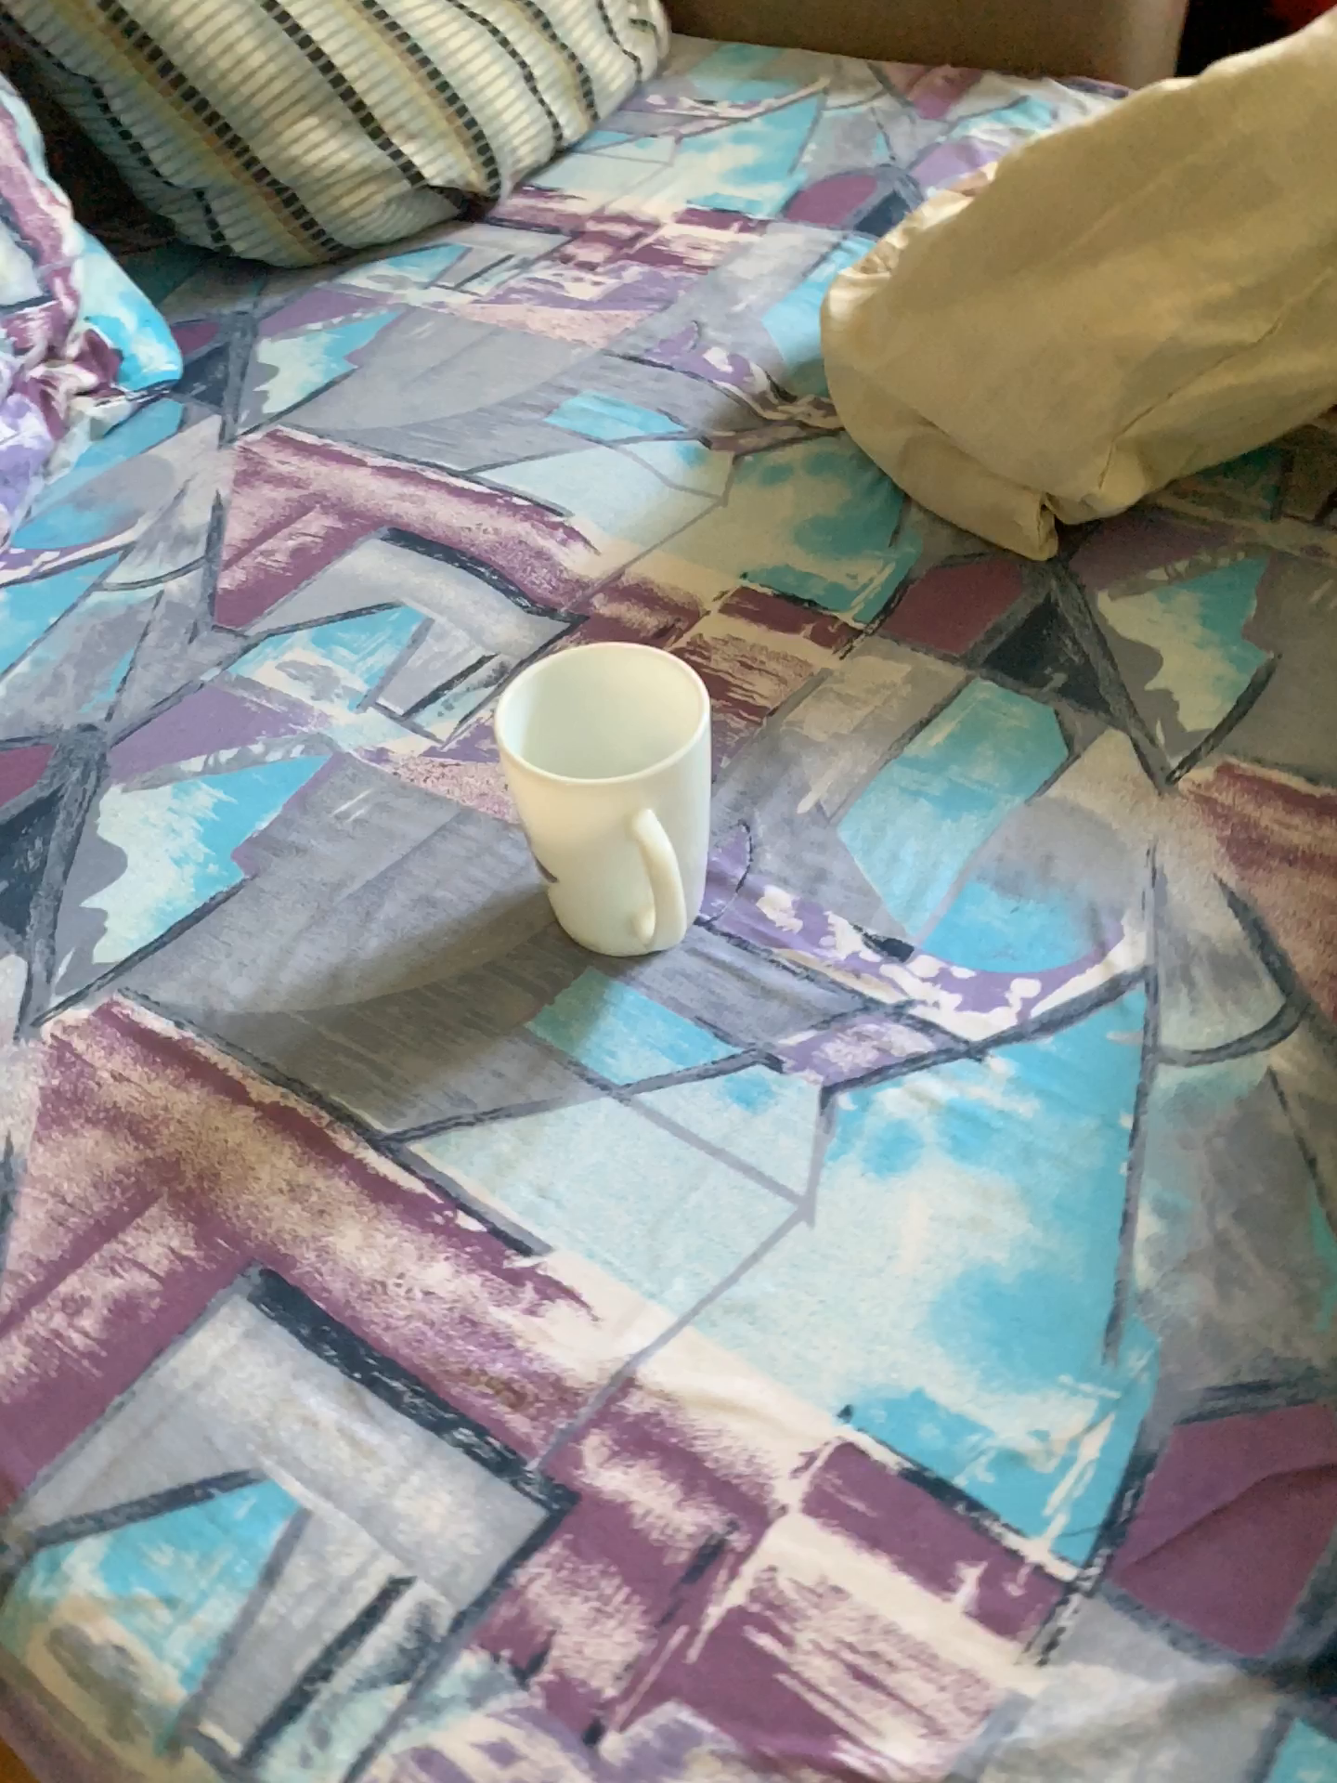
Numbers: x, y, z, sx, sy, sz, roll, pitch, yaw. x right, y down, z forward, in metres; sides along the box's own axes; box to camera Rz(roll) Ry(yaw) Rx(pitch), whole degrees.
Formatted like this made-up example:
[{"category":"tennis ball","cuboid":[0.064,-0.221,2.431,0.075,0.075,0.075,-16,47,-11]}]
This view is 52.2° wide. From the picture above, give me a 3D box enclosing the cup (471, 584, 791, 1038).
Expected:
[{"category":"cup","cuboid":[-0.014,-0.031,0.514,0.080,0.099,0.121,-16,48,-5]}]
